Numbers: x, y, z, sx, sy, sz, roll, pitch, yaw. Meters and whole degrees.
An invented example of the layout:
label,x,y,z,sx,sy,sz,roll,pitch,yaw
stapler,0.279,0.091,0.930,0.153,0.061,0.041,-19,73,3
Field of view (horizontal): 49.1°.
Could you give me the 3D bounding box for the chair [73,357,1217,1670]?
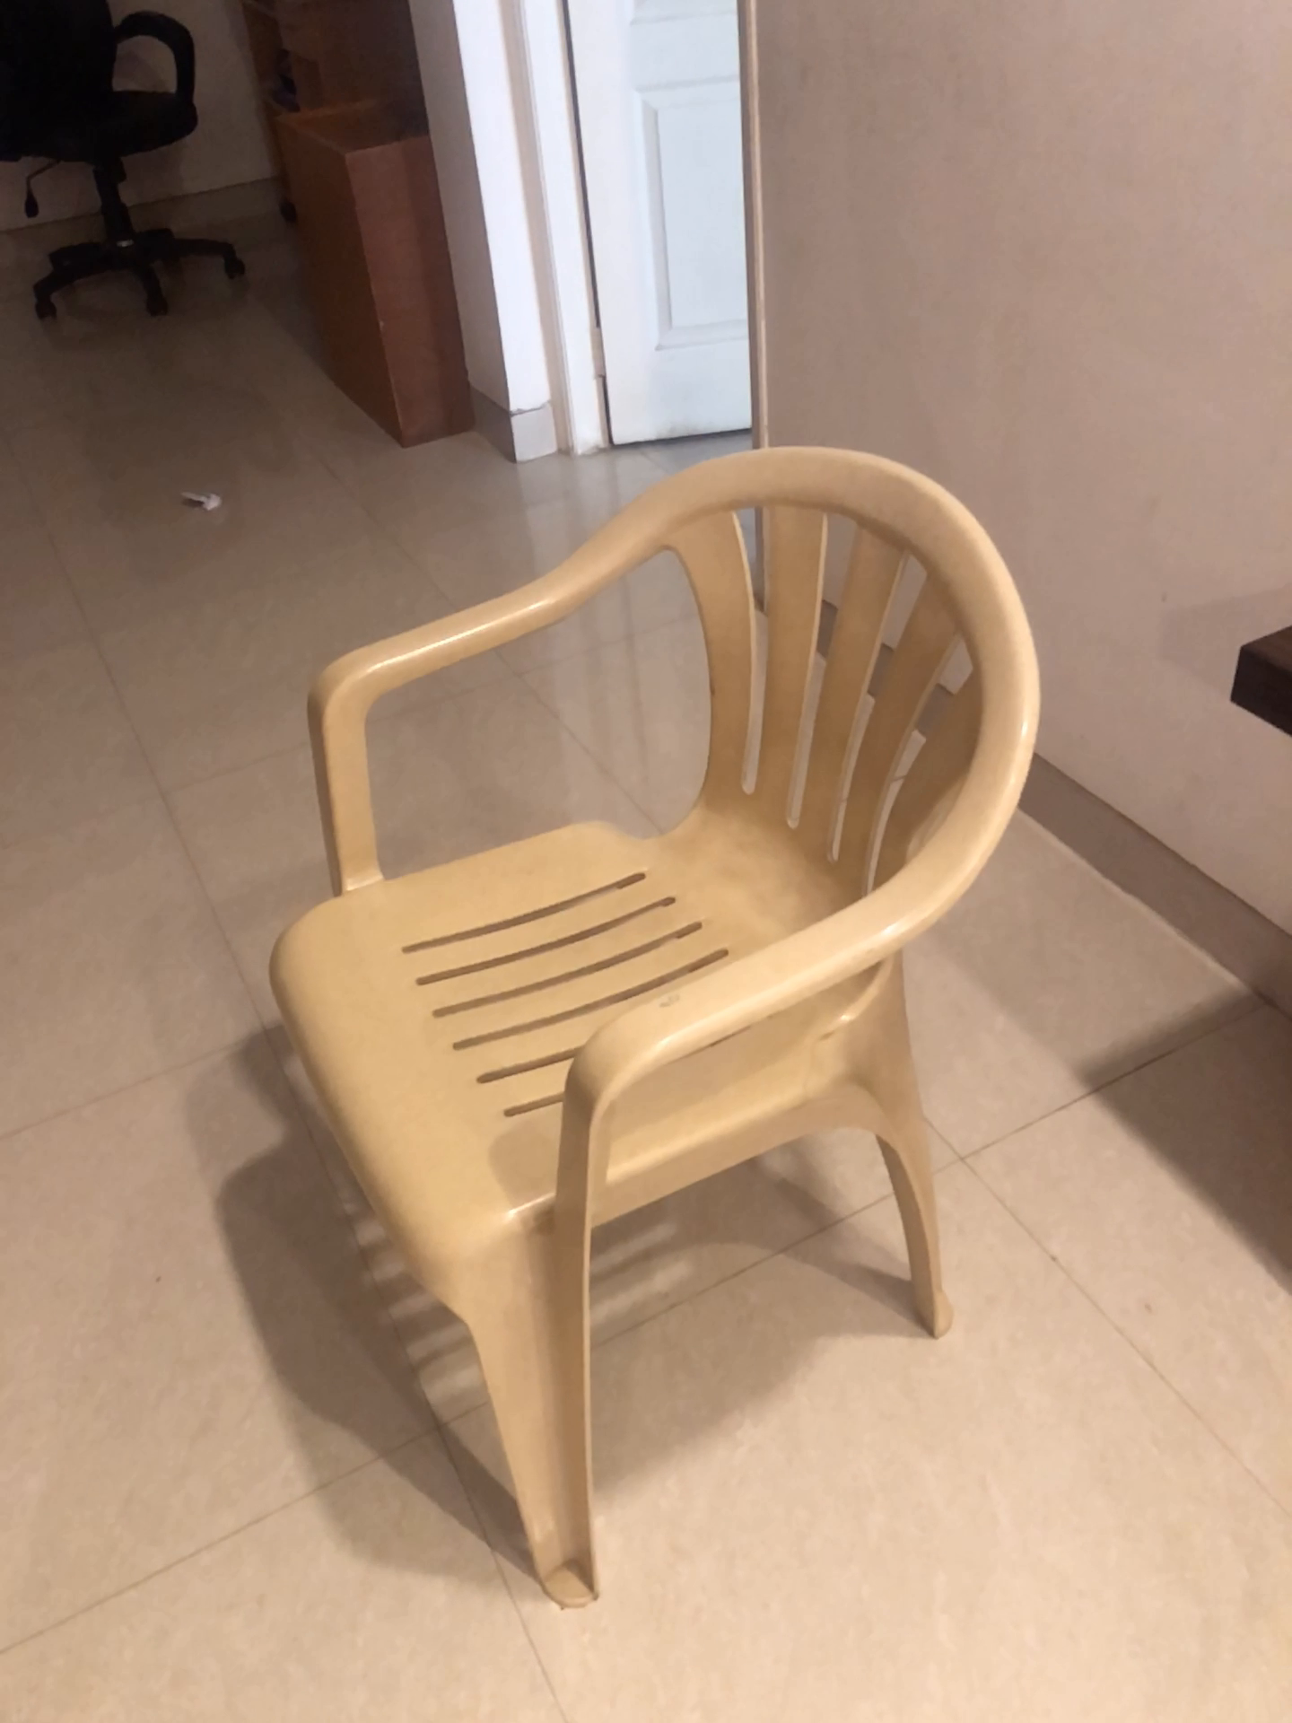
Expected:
label,x,y,z,sx,sy,sz,roll,pitch,yaw
chair,-0.011,0.101,1.213,0.591,0.774,0.573,-22,41,-19
